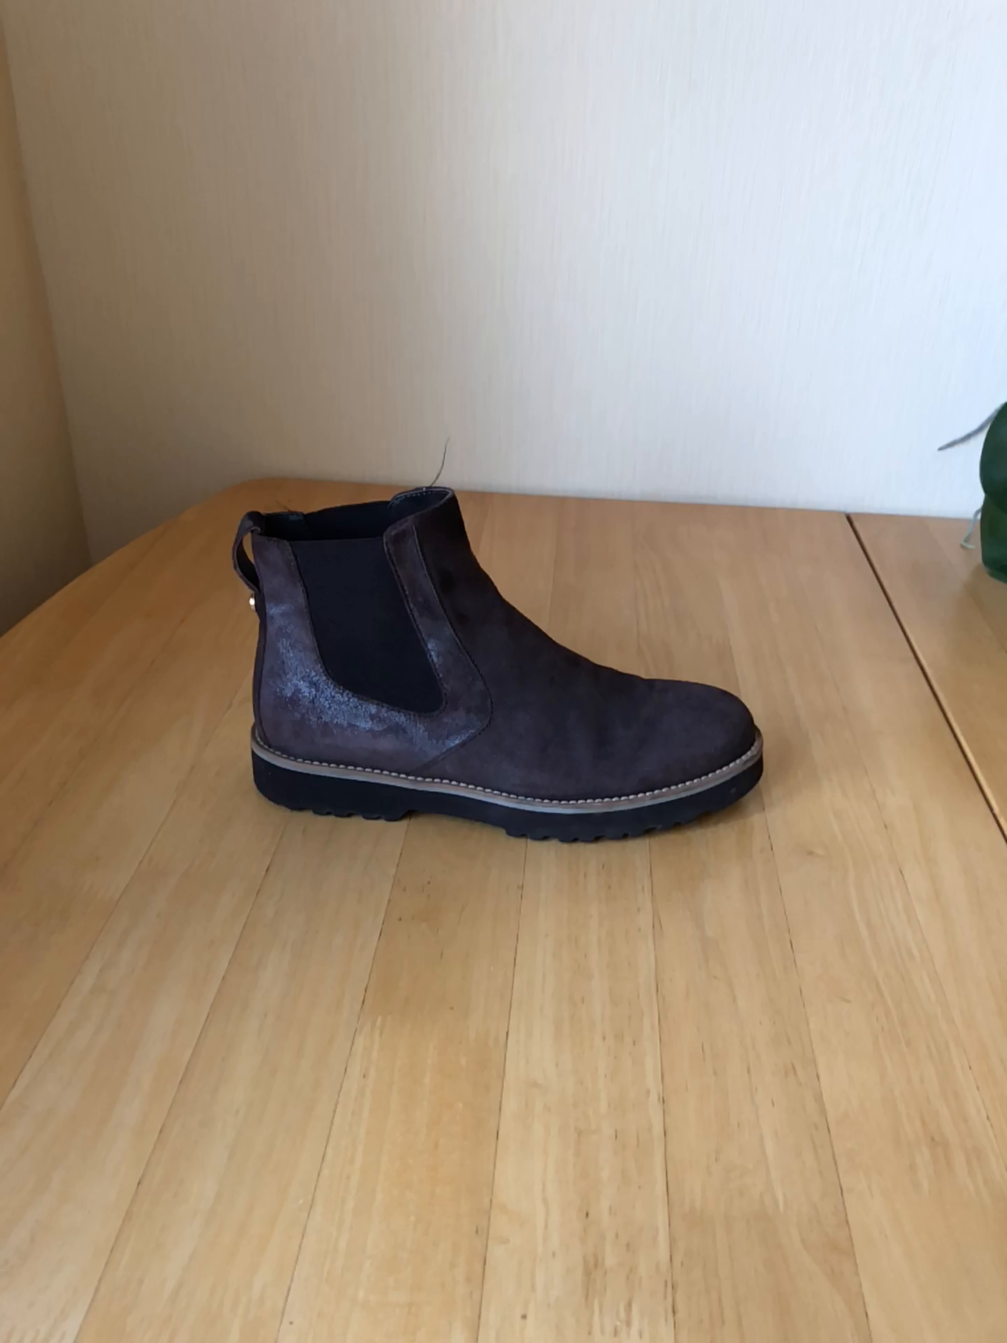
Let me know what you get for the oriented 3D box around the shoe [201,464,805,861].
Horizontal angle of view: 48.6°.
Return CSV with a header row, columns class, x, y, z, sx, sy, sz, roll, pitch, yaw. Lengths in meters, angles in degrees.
class,x,y,z,sx,sy,sz,roll,pitch,yaw
shoe,0.002,-0.008,0.476,0.220,0.119,0.100,4,30,5
